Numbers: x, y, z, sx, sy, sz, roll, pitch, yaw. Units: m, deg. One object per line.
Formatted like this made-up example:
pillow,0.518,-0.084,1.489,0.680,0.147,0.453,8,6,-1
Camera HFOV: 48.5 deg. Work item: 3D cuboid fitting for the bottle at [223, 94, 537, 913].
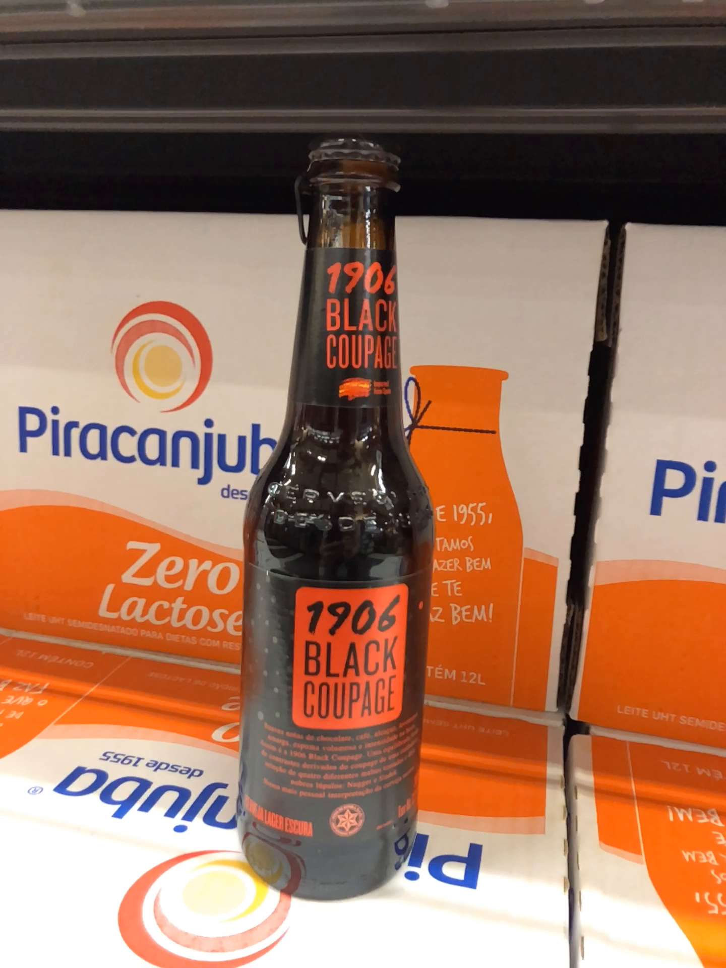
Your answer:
bottle,-0.002,0.009,0.249,0.070,0.219,0.060,0,11,-17
